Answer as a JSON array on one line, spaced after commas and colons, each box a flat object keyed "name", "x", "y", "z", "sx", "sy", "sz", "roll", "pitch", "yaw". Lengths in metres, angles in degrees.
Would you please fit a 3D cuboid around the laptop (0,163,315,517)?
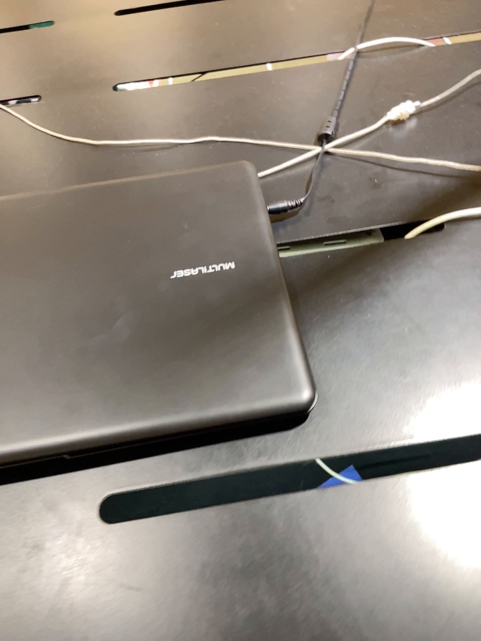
[{"name": "laptop", "x": -0.137, "y": -0.012, "z": 0.318, "sx": 0.324, "sy": 0.001, "sz": 0.211, "roll": -10, "pitch": 54, "yaw": -3}]
